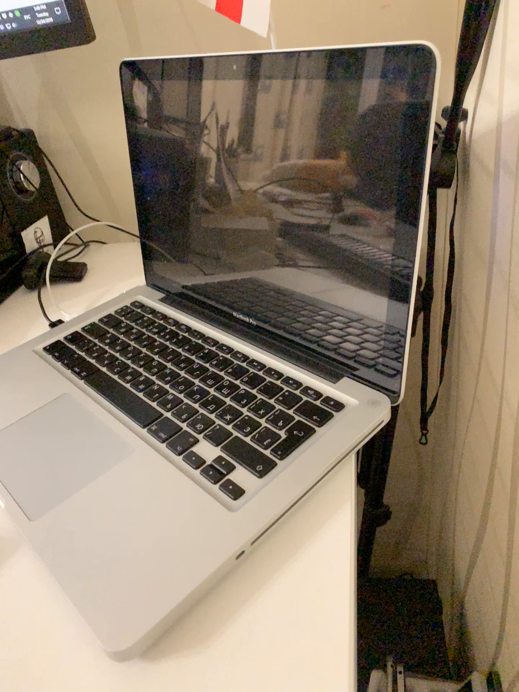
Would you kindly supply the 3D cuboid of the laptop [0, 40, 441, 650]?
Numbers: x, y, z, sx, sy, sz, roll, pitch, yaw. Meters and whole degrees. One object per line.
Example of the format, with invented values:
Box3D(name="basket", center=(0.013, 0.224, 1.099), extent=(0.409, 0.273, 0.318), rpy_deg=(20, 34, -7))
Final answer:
Box3D(name="laptop", center=(-0.088, -0.054, 0.350), extent=(0.249, 0.196, 0.302), rpy_deg=(-34, 40, -31))
